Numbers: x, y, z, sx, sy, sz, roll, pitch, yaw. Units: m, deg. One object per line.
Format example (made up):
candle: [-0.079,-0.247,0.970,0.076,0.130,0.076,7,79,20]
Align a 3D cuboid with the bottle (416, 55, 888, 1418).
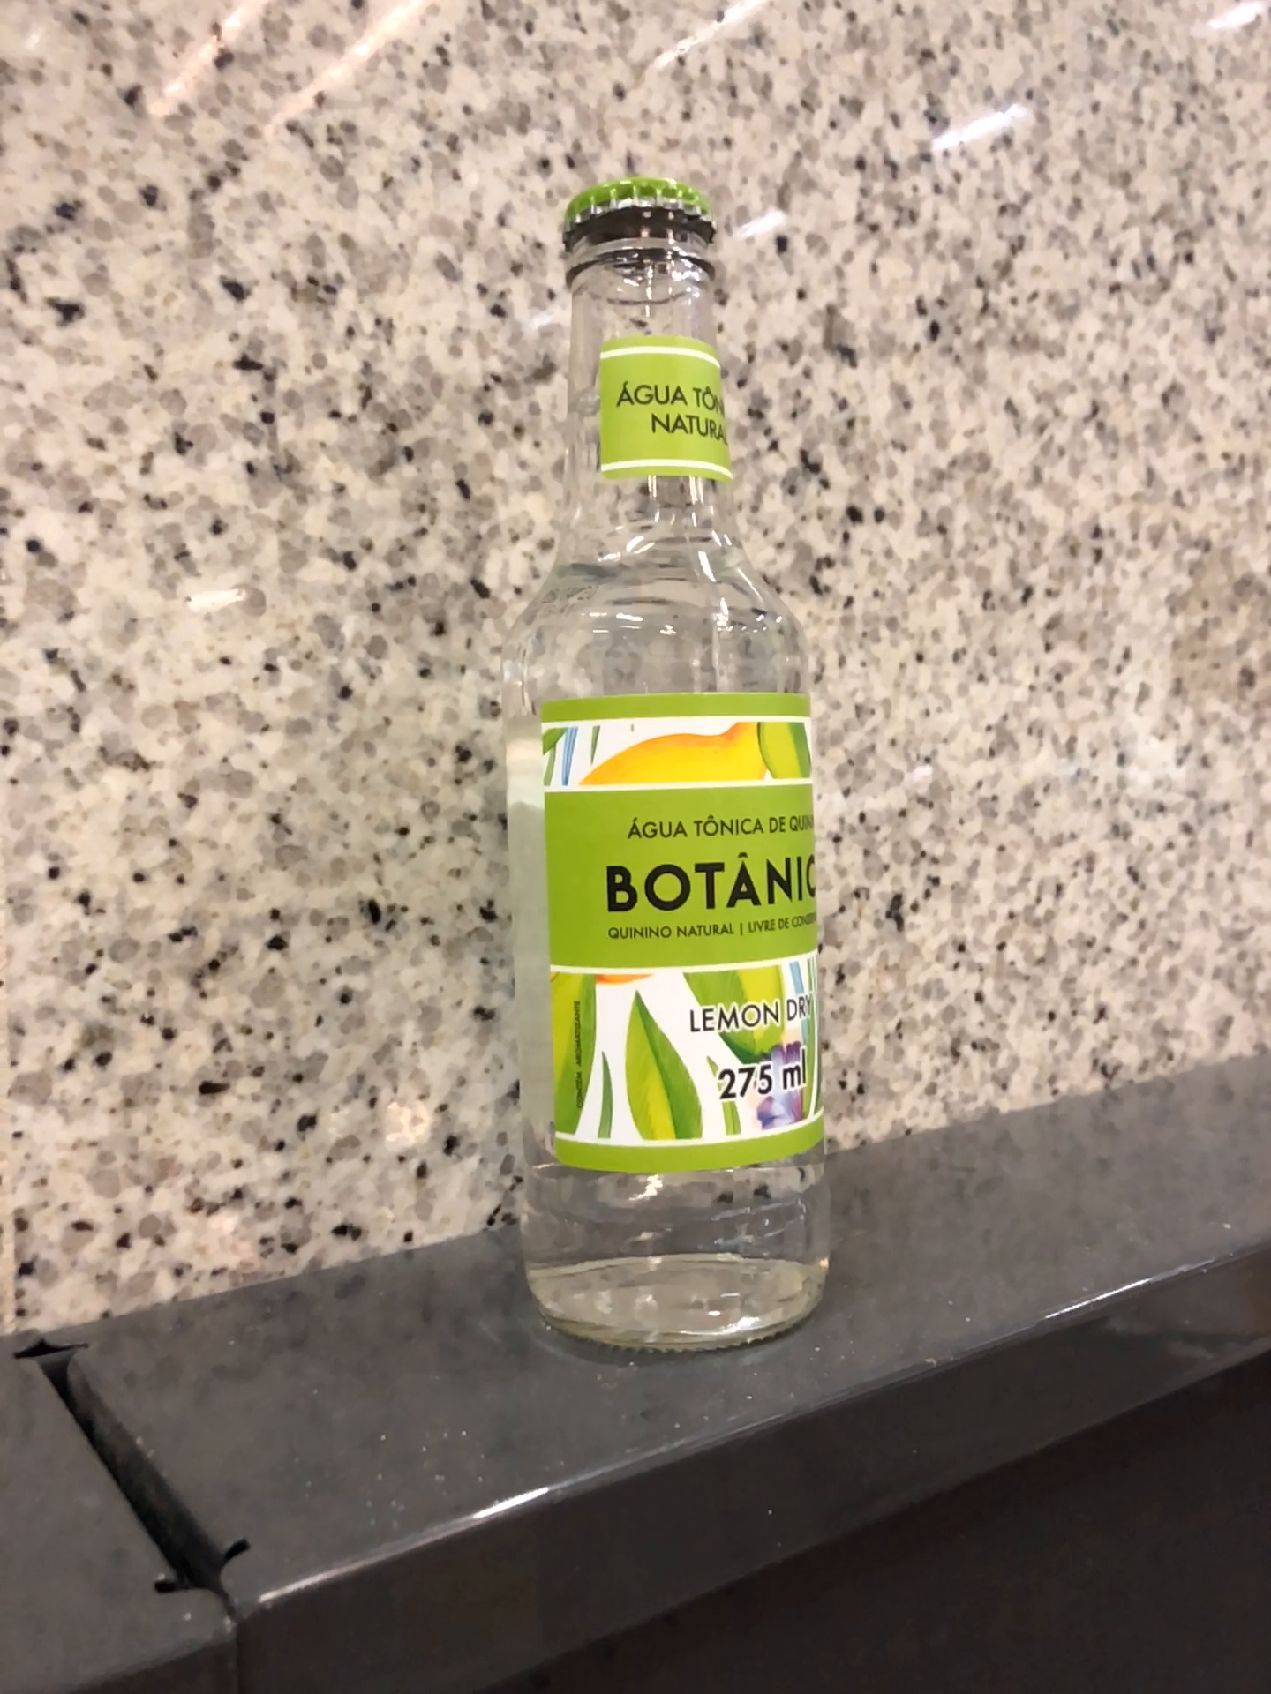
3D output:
bottle: [0.002,-0.017,0.260,0.060,0.210,0.060,0,4,0]
